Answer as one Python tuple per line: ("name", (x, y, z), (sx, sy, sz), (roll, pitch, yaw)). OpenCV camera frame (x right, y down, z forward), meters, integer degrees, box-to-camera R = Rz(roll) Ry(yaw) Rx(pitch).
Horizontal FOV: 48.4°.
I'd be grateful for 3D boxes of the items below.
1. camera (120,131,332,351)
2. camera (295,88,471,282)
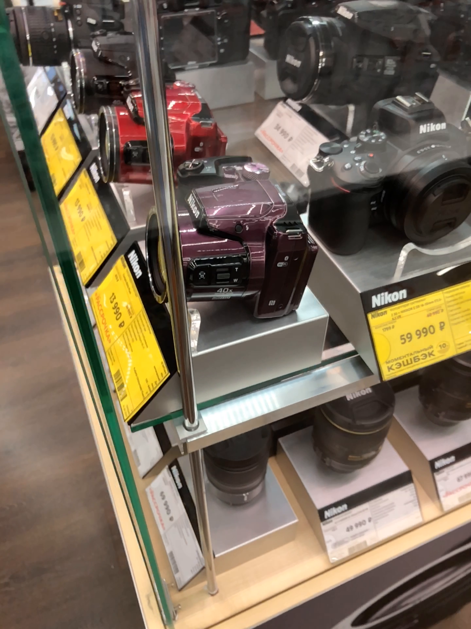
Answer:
("camera", (-0.011, -0.054, 0.350), (0.100, 0.080, 0.110), (-14, 46, -14))
("camera", (0.130, -0.102, 0.398), (0.133, 0.084, 0.100), (-14, 46, -14))
